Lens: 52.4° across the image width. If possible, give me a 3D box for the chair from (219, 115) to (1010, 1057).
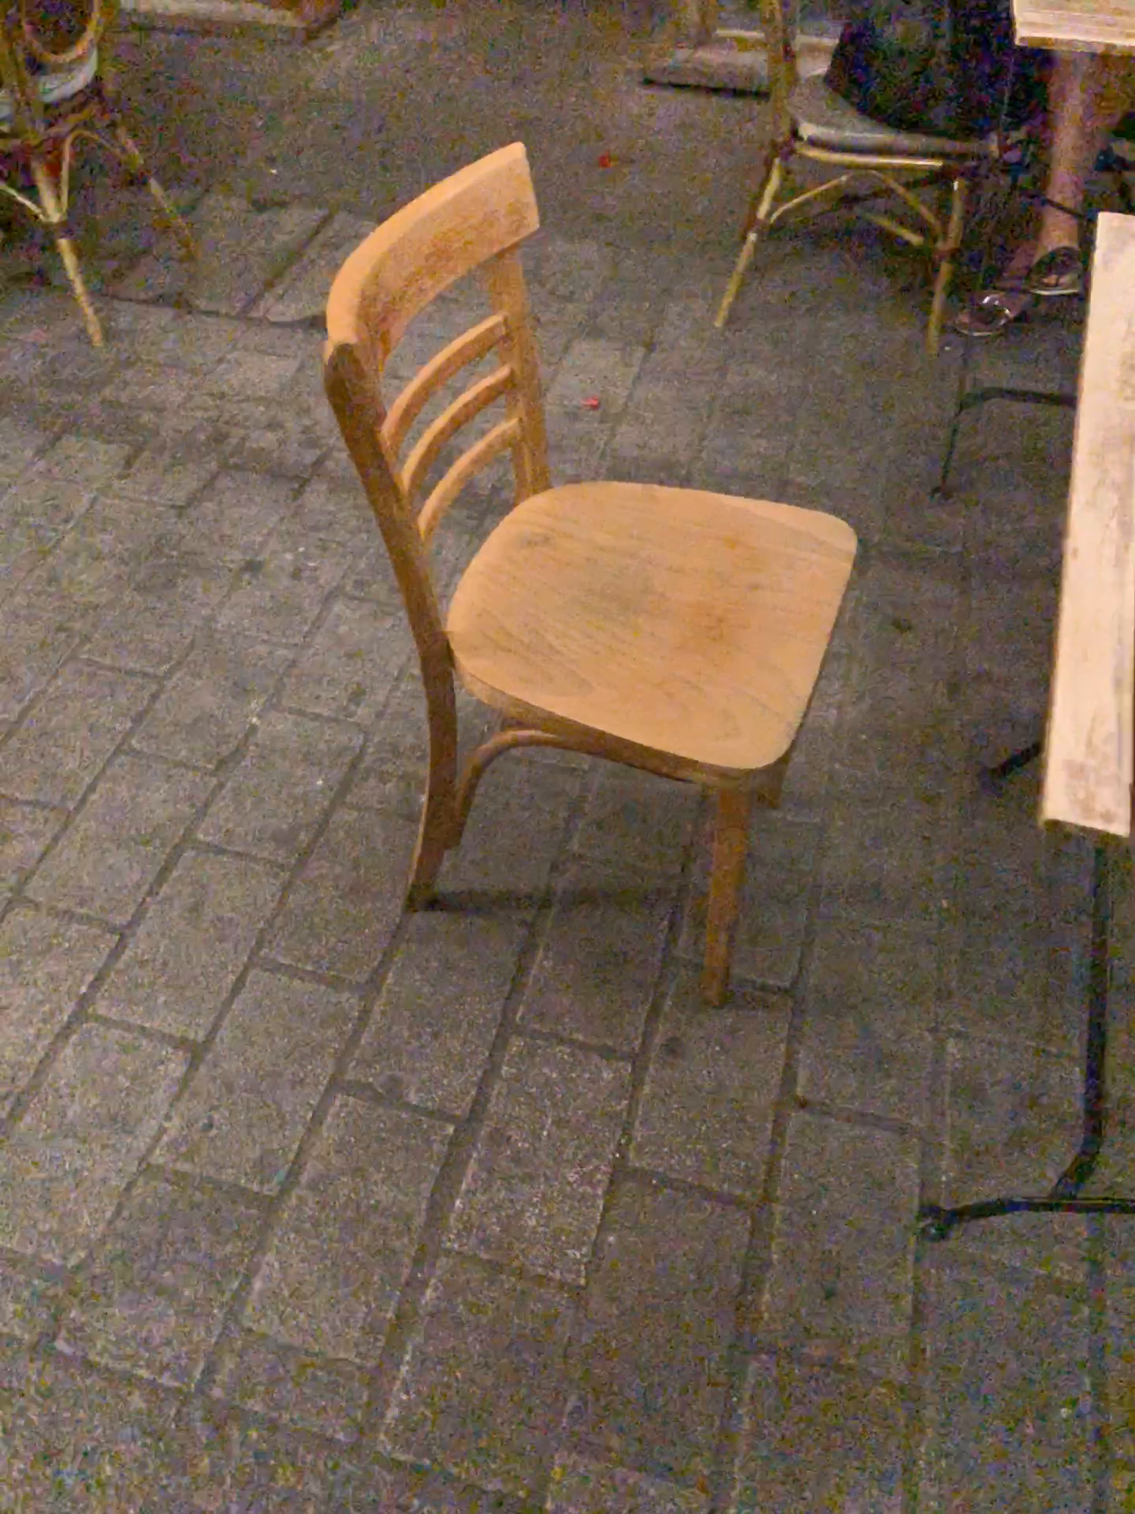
[{"bbox_3d":[0.074,-0.162,1.251,0.541,0.763,0.514,14,49,12],"label":"chair"}]
